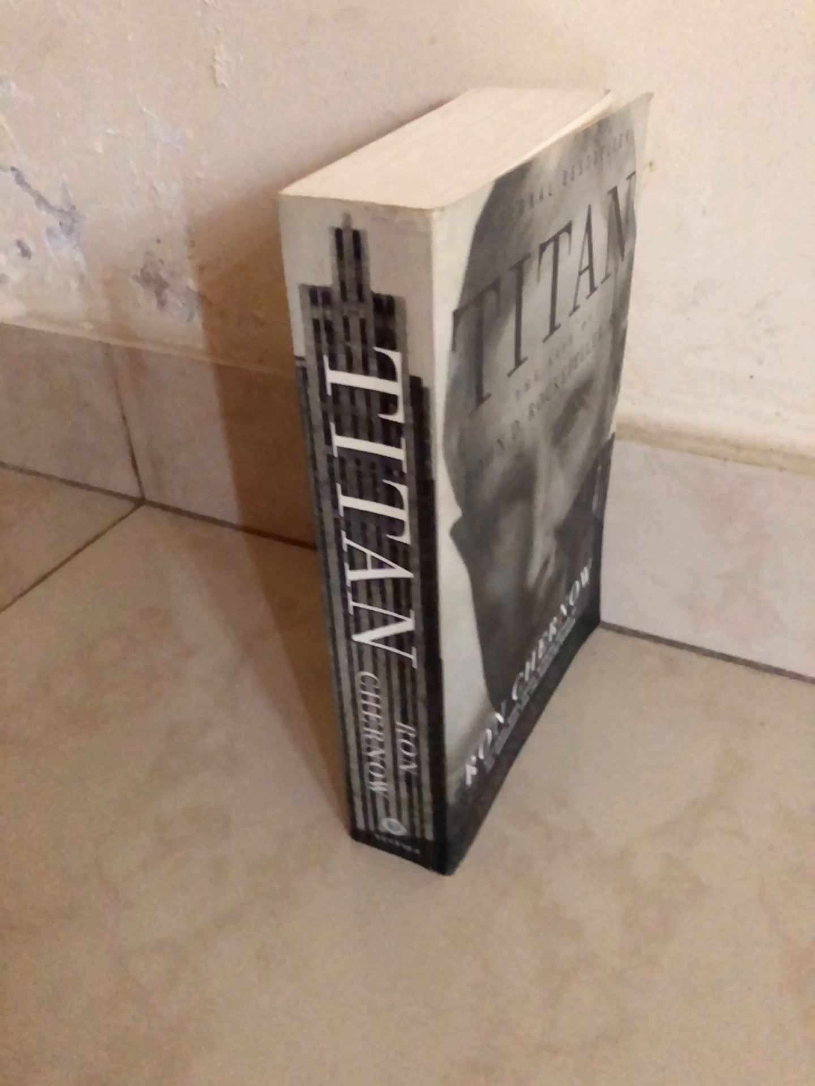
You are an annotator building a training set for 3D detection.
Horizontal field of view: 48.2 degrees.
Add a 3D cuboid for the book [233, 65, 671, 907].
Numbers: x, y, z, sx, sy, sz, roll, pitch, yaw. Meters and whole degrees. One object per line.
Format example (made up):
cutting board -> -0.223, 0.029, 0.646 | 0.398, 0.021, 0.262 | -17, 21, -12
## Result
book -> 0.032, -0.031, 0.330 | 0.060, 0.229, 0.201 | 12, 37, 20
